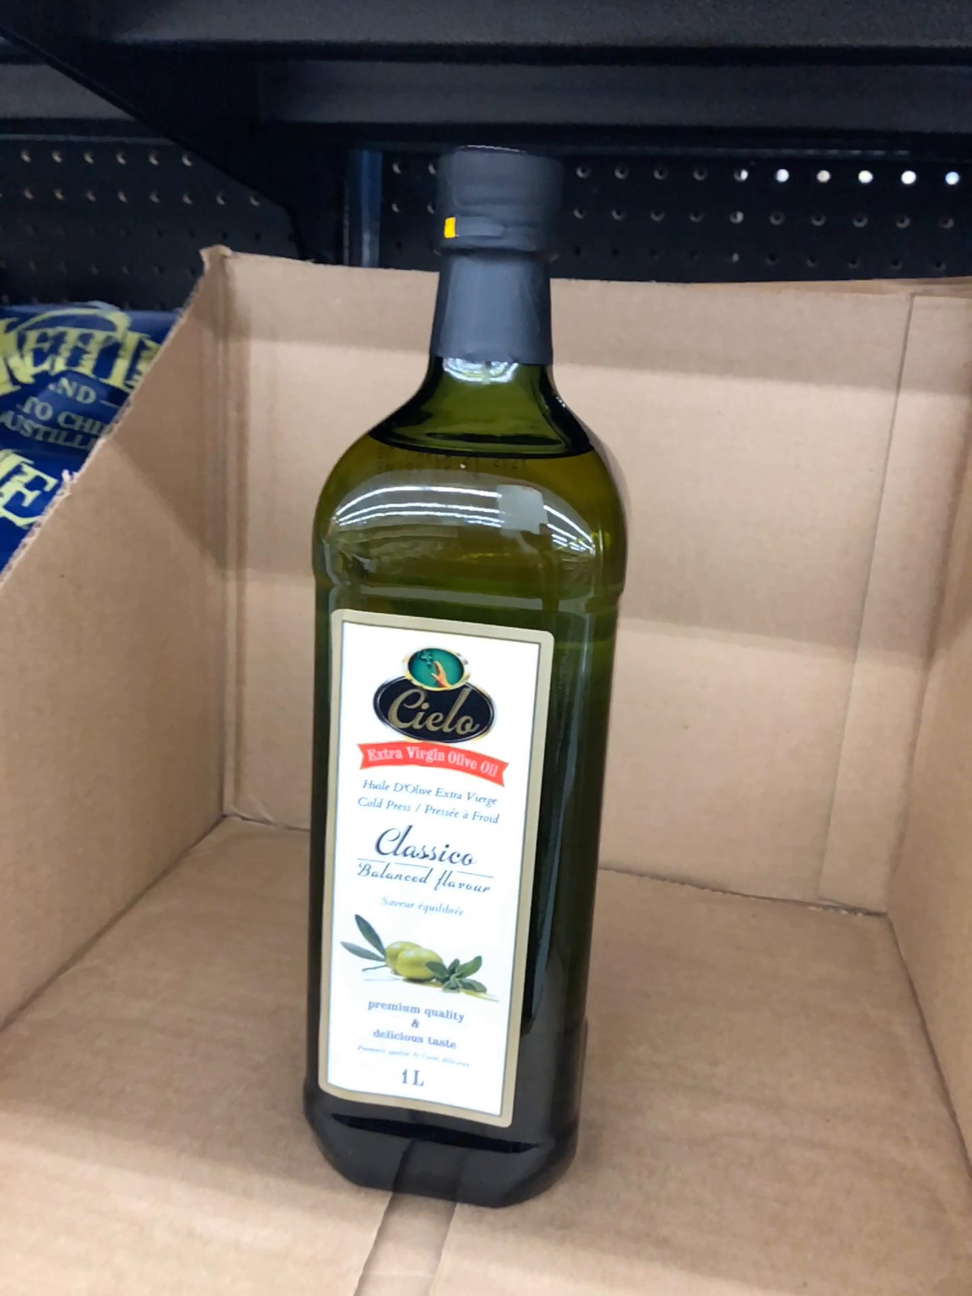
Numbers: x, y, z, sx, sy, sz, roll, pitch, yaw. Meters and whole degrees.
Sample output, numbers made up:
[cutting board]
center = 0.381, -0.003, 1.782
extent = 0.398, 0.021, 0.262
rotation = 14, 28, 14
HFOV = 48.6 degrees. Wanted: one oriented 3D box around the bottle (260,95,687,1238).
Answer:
[bottle]
center = -0.003, 0.011, 0.304
extent = 0.090, 0.288, 0.080
rotation = 6, 17, 9
